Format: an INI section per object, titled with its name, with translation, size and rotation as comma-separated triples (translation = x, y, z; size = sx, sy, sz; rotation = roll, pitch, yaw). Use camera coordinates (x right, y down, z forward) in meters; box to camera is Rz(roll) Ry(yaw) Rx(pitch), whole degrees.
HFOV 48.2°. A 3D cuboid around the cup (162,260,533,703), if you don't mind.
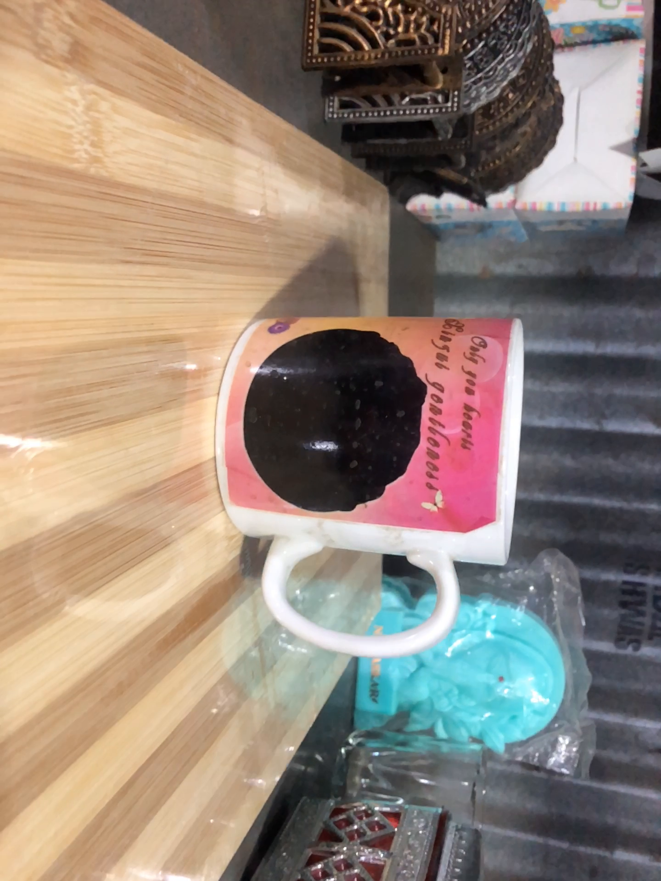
[cup]
translation = 0.017, 0.016, 0.252
size = 0.090, 0.090, 0.120
rotation = 61, 36, -63
